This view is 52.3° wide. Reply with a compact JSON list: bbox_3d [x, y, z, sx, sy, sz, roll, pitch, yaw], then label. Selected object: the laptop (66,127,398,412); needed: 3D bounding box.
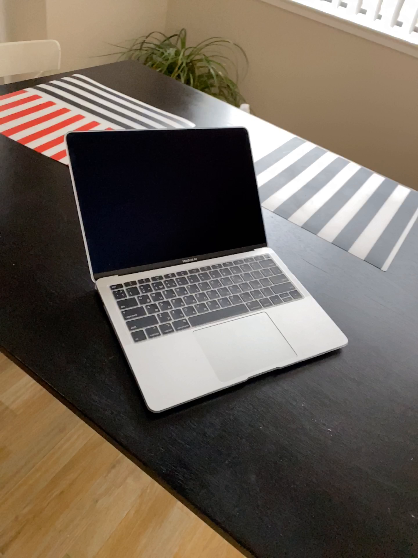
[{"bbox_3d":[0.002,-0.056,0.592,0.297,0.139,0.362,-13,49,-28],"label":"laptop"}]
